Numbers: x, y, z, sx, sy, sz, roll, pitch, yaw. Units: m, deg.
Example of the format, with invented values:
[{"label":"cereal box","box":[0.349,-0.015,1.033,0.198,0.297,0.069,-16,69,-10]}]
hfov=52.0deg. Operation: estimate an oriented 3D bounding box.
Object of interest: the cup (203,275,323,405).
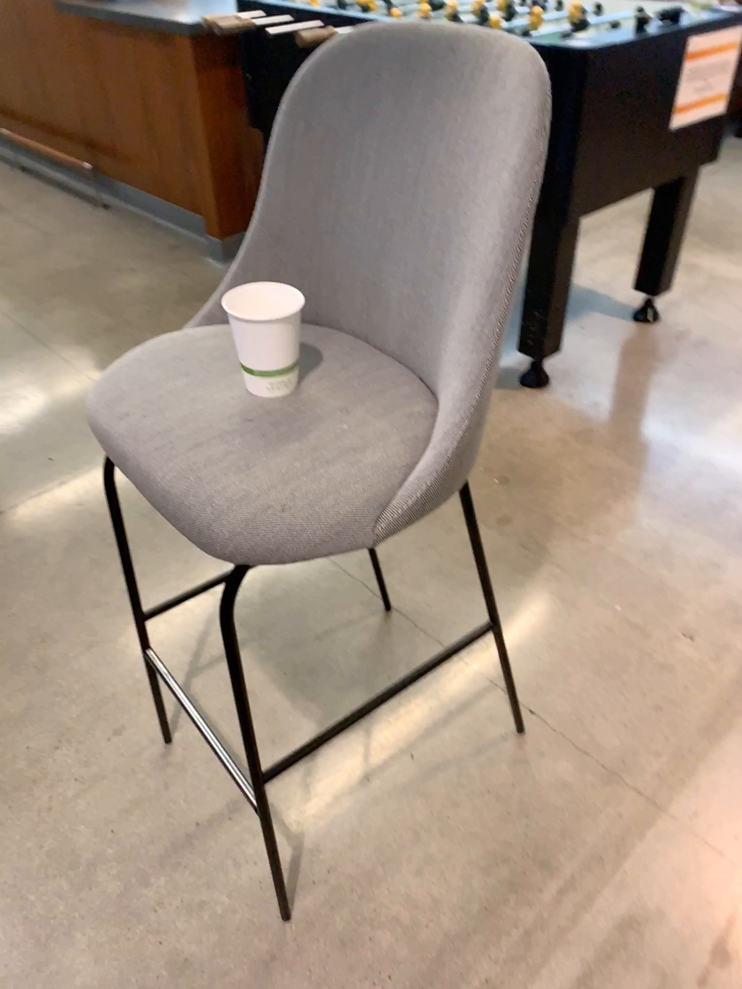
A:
[{"label":"cup","box":[-0.114,-0.171,0.832,0.090,0.099,0.090,-1,39,1]}]
